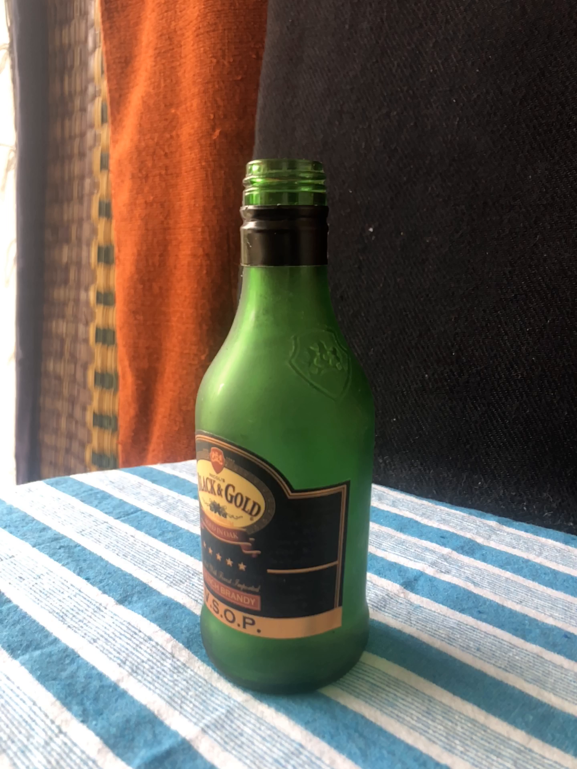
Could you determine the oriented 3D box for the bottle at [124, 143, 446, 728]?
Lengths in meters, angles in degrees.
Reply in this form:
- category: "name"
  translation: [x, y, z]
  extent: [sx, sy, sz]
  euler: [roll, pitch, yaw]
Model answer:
- category: "bottle"
  translation: [-0.002, 0.008, 0.187]
  extent: [0.060, 0.140, 0.060]
  euler: [1, 14, 0]
